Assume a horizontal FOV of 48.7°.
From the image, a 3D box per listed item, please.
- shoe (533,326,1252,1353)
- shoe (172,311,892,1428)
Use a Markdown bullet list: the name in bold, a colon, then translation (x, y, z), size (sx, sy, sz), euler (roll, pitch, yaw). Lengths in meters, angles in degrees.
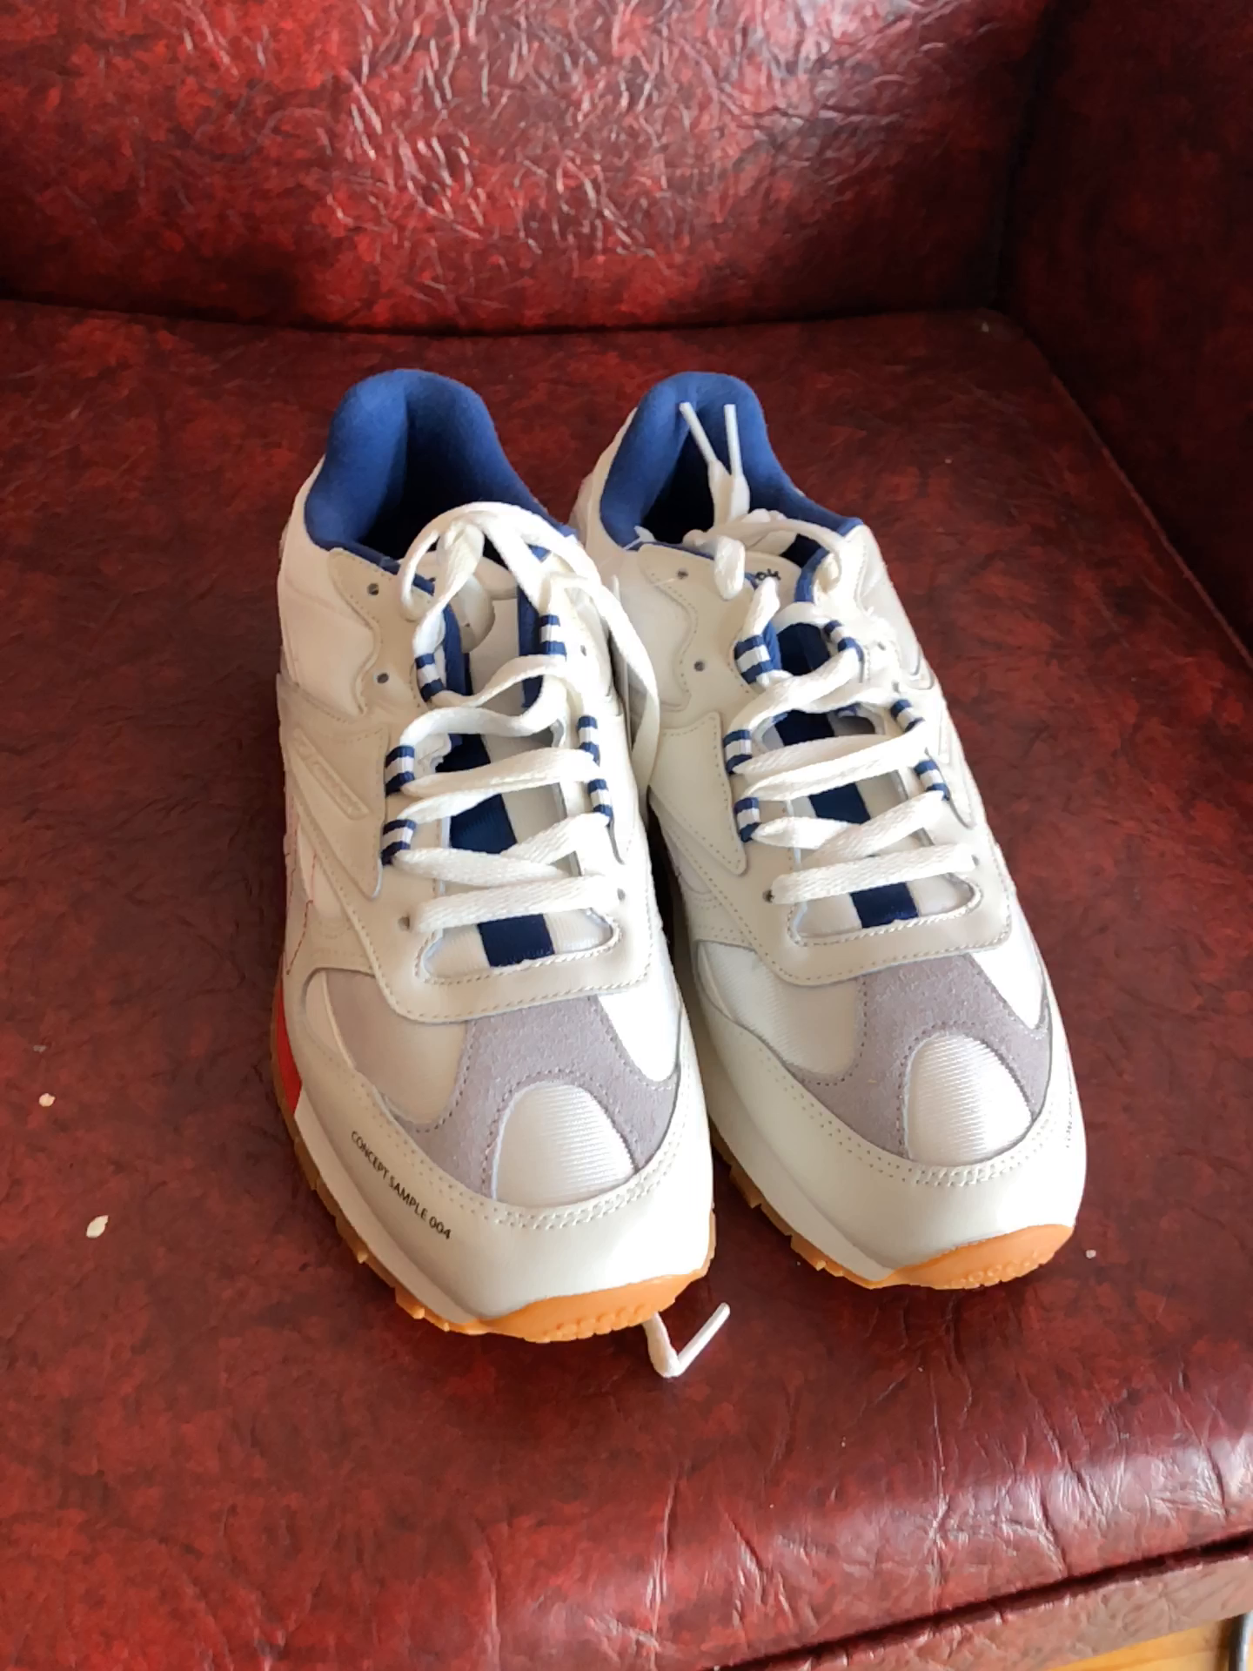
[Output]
- **shoe**: translation (0.062, -0.016, 0.392), size (0.110, 0.099, 0.271), euler (-8, 56, -16)
- **shoe**: translation (-0.044, -0.010, 0.363), size (0.110, 0.099, 0.271), euler (-8, 56, -16)
